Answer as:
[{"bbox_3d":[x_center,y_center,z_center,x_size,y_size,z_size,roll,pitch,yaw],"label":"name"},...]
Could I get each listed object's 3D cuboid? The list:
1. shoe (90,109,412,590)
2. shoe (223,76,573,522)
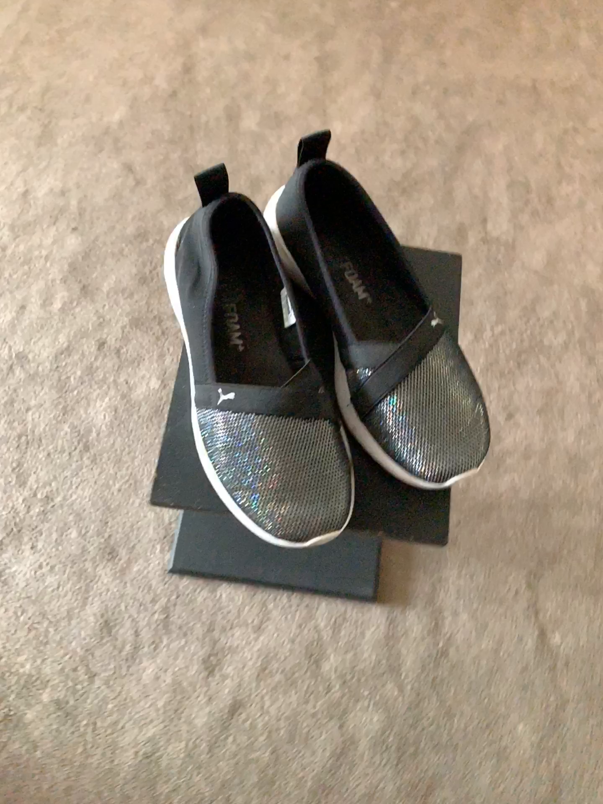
[{"bbox_3d":[-0.039,-0.033,0.382,0.100,0.100,0.261,-16,72,-10],"label":"shoe"},{"bbox_3d":[0.045,-0.068,0.407,0.100,0.100,0.257,-21,73,-12],"label":"shoe"}]
